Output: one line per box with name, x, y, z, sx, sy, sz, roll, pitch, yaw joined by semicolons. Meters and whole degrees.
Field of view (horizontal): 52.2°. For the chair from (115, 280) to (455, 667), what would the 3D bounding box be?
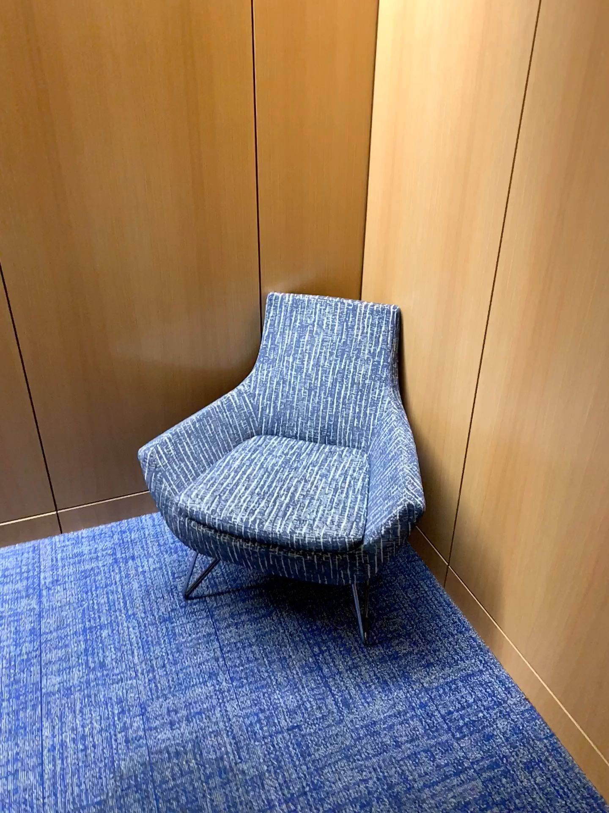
chair;-0.004;0.137;1.731;0.700;0.746;0.617;8;30;13
